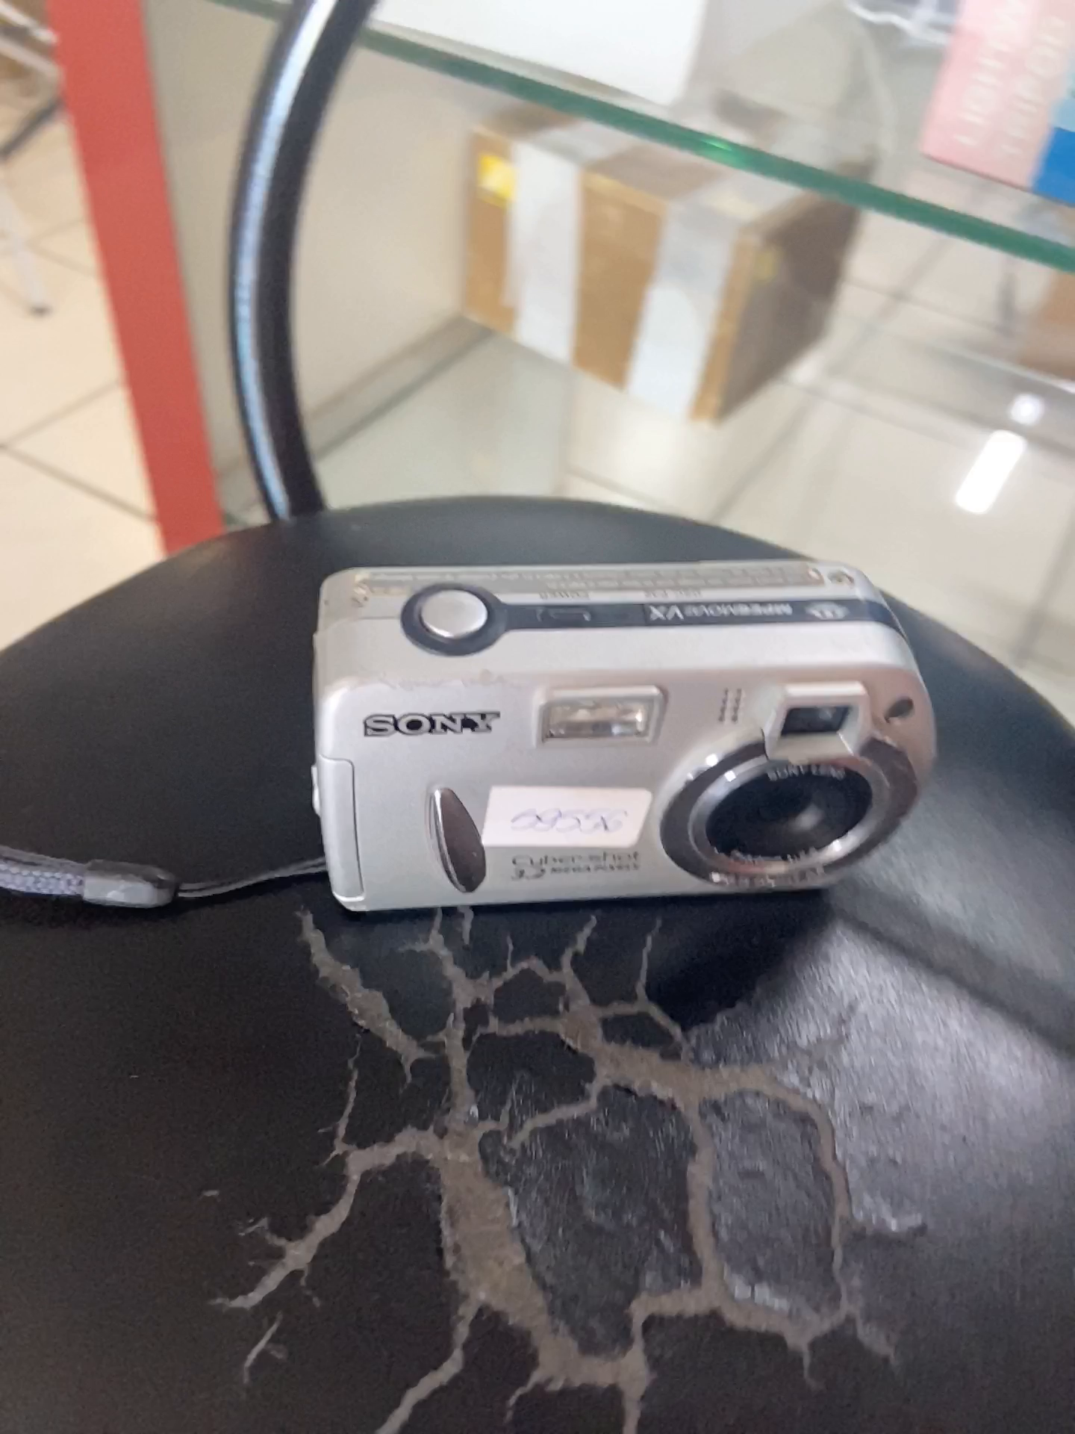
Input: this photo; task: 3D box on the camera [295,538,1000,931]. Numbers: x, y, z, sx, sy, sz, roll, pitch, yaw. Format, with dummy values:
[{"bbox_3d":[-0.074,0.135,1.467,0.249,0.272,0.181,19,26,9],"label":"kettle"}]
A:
[{"bbox_3d":[0.013,0.003,0.188,0.100,0.050,0.040,-1,46,-7],"label":"camera"}]
